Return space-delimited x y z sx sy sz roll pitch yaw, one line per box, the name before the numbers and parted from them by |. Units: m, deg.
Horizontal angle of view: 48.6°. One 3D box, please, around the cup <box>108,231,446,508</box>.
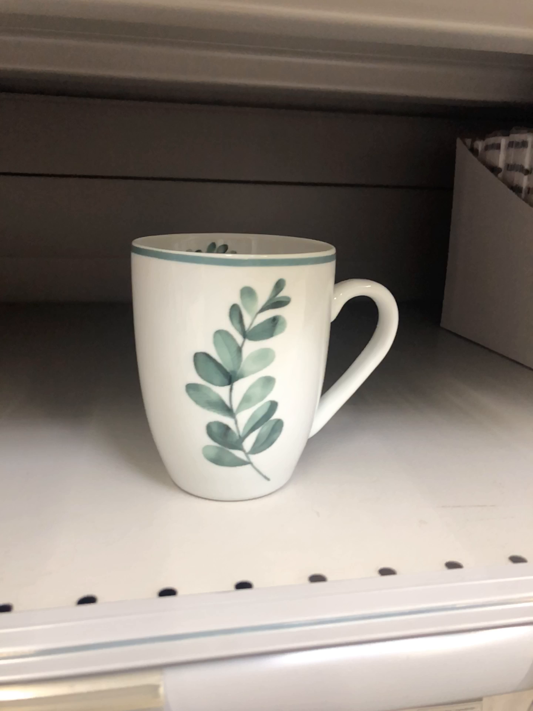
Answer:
cup | -0.001 -0.001 0.252 0.116 0.093 0.082 0 16 -8
